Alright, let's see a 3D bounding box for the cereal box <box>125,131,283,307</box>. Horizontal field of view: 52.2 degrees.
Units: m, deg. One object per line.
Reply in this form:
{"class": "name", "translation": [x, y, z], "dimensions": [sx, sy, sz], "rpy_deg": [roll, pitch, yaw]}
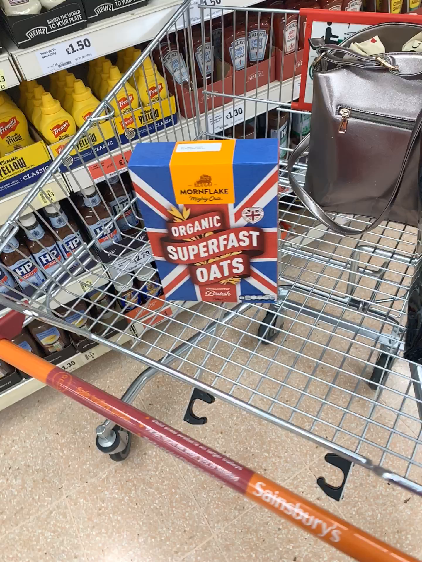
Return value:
{"class": "cereal box", "translation": [0.006, -0.069, 0.592], "dimensions": [0.180, 0.258, 0.050], "rpy_deg": [1, 47, 9]}
